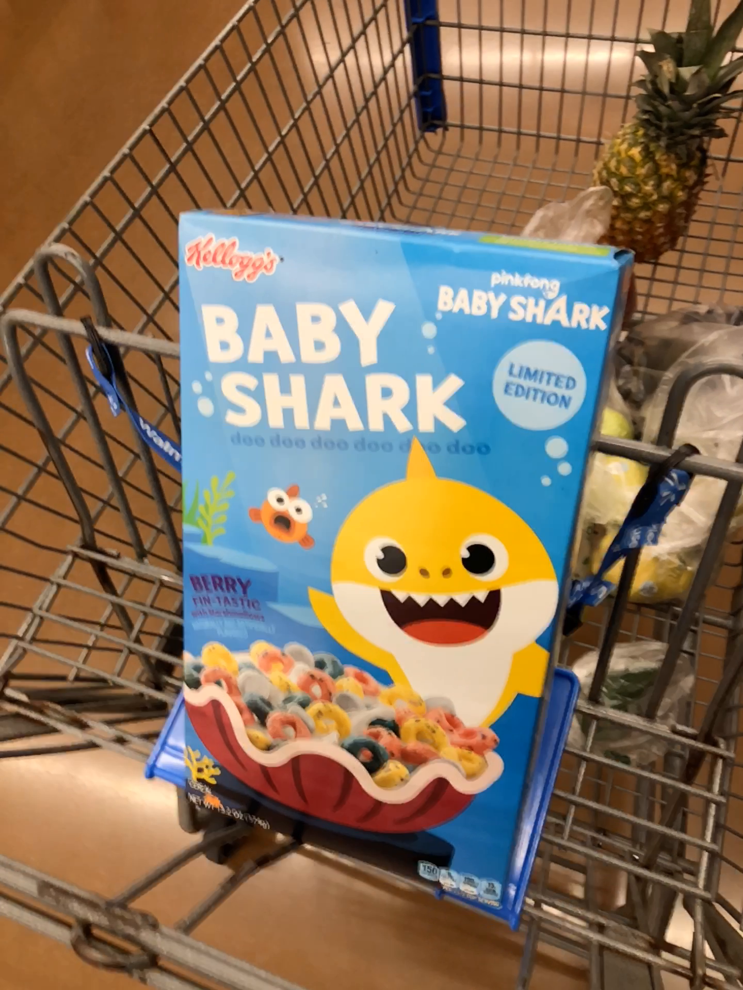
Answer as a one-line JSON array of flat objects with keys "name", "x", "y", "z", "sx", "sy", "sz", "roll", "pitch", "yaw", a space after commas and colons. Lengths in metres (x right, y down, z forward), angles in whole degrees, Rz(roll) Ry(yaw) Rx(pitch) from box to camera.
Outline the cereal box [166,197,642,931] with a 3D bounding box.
[{"name": "cereal box", "x": 0.000, "y": 0.040, "z": 0.416, "sx": 0.190, "sy": 0.340, "sz": 0.070, "roll": 13, "pitch": 25, "yaw": 16}]
